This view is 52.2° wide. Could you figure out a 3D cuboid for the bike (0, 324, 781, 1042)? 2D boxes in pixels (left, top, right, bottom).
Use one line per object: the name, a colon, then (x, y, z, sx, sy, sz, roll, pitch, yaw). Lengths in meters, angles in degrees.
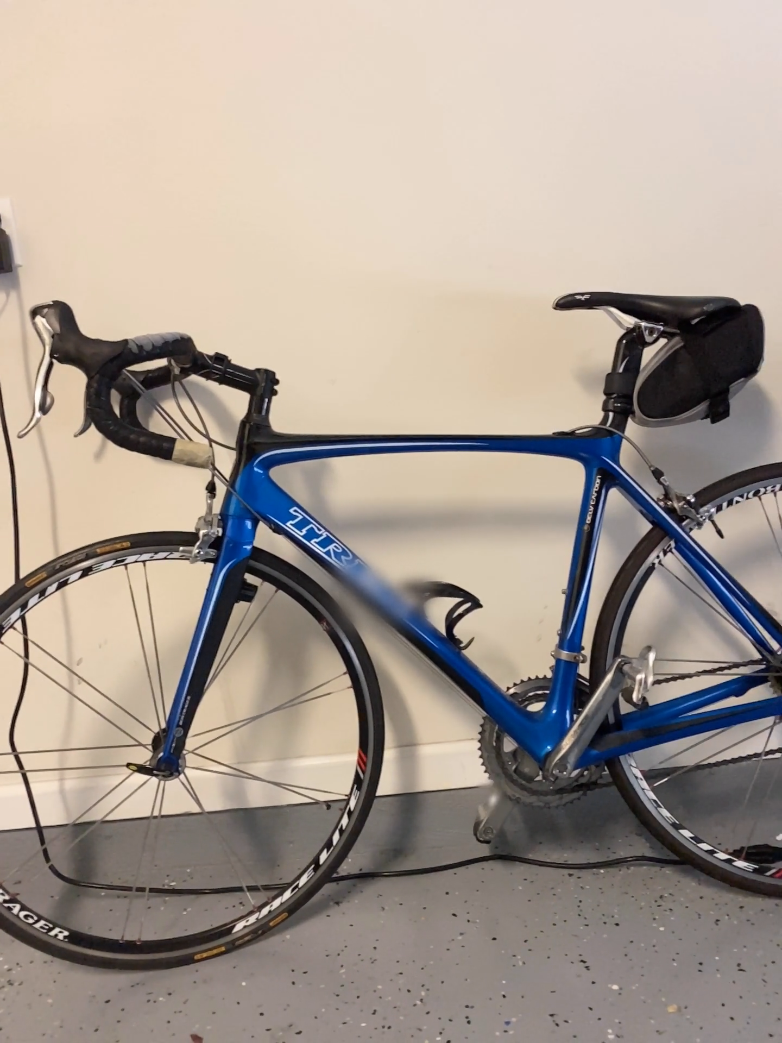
bike: (0.224, 0.214, 1.121, 1.638, 0.884, 0.401, -3, 7, -11)
